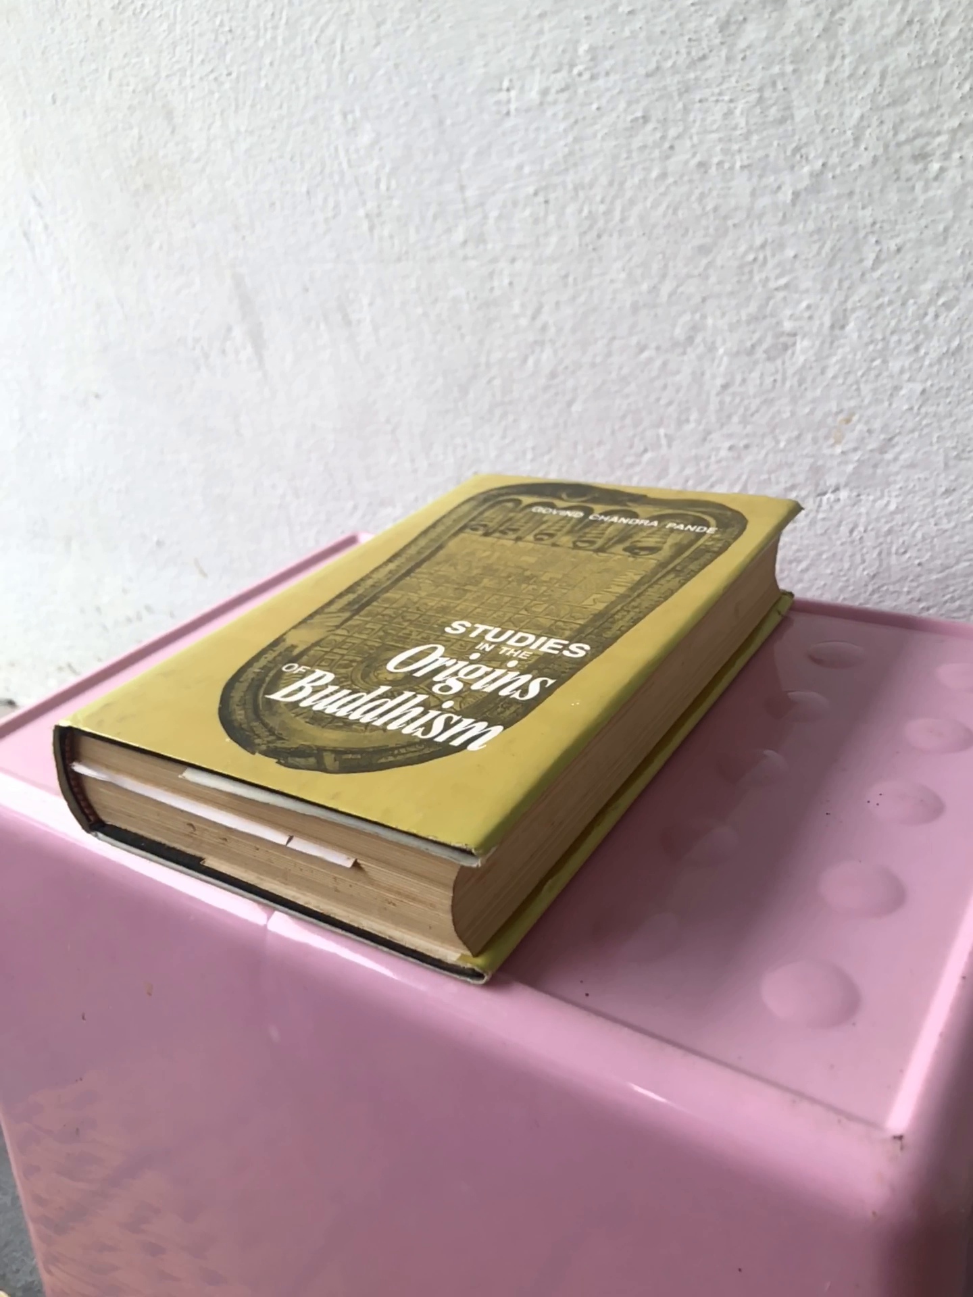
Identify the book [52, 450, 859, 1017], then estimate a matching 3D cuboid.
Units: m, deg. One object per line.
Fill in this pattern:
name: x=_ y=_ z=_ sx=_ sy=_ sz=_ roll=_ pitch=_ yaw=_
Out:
book: x=0.010 y=-0.003 z=0.355 sx=0.150 sy=0.040 sz=0.241 roll=12 pitch=33 yaw=31
